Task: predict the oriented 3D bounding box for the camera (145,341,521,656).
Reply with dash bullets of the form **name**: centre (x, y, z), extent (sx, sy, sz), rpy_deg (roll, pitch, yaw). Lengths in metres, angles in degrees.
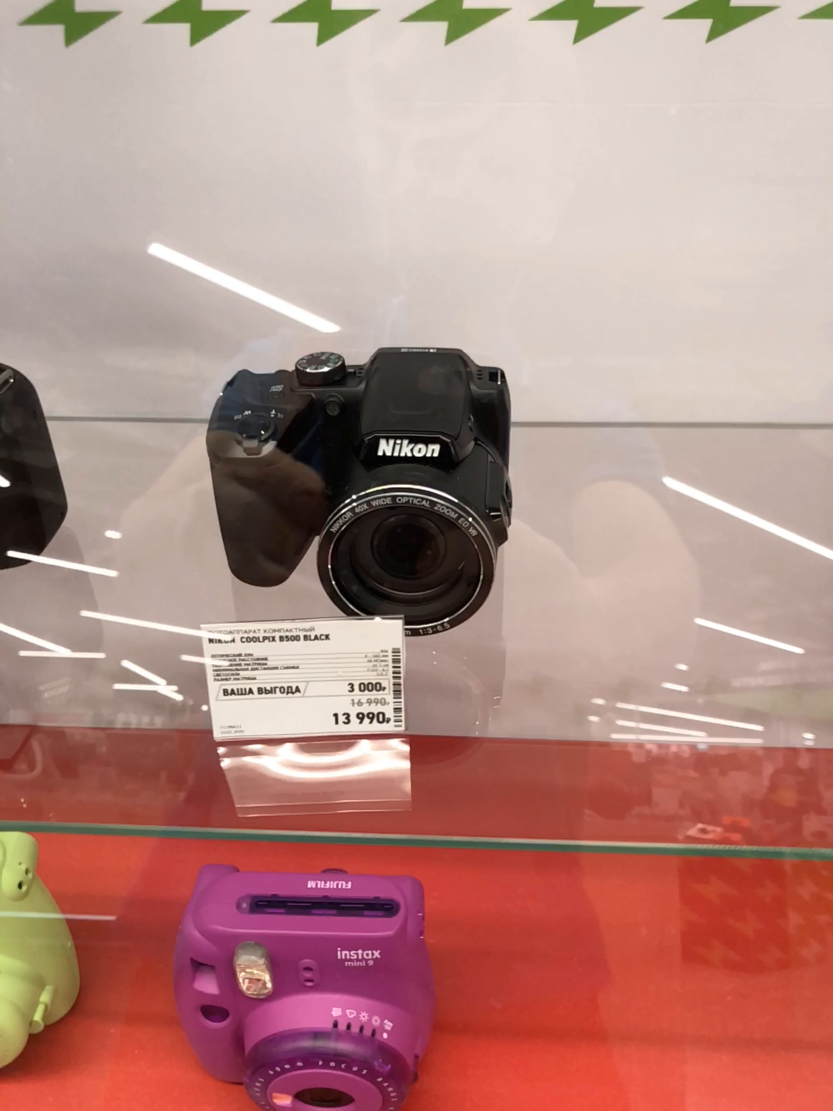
- **camera**: centre (-0.022, -0.025, 0.340), extent (0.115, 0.070, 0.101), rpy_deg (2, 36, 4)
